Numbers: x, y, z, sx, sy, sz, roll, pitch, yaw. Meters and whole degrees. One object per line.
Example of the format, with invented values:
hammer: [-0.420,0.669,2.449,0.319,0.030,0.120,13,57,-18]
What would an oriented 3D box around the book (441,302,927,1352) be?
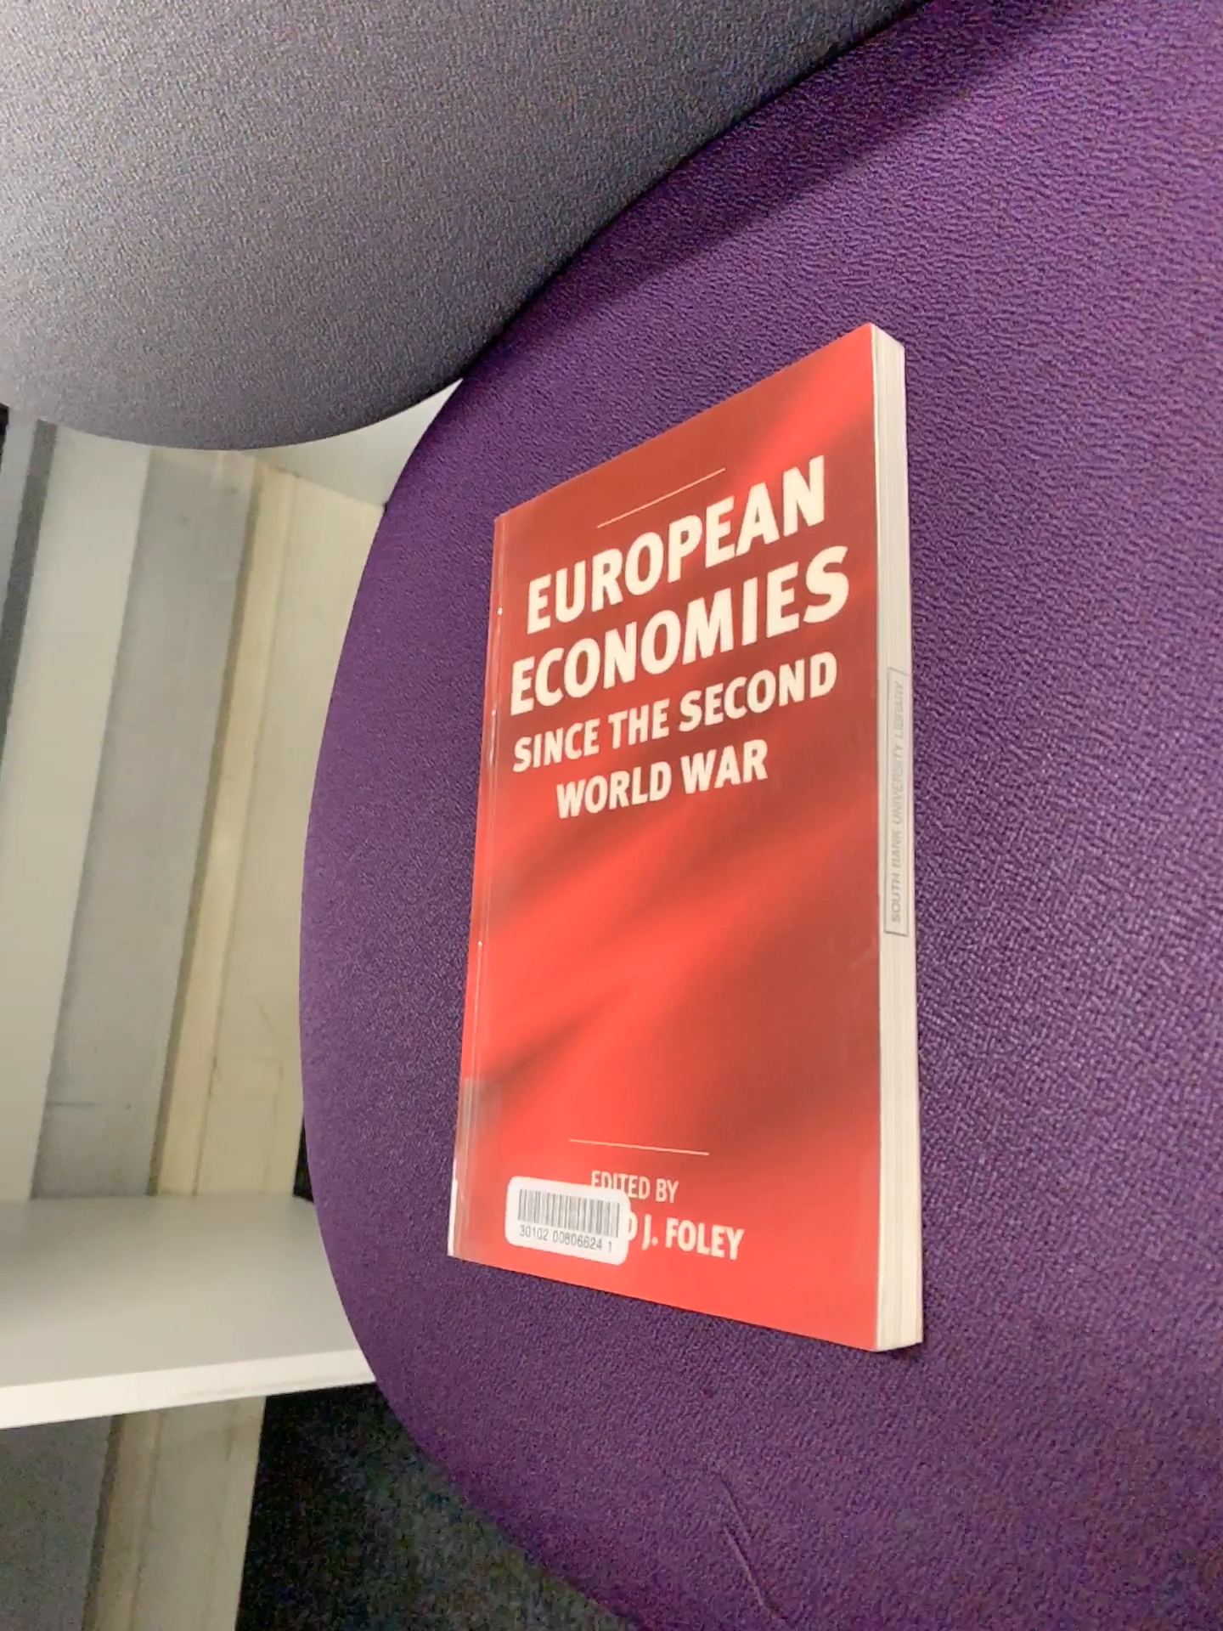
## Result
book: [0.013,0.004,0.326,0.149,0.020,0.225,-12,71,49]
